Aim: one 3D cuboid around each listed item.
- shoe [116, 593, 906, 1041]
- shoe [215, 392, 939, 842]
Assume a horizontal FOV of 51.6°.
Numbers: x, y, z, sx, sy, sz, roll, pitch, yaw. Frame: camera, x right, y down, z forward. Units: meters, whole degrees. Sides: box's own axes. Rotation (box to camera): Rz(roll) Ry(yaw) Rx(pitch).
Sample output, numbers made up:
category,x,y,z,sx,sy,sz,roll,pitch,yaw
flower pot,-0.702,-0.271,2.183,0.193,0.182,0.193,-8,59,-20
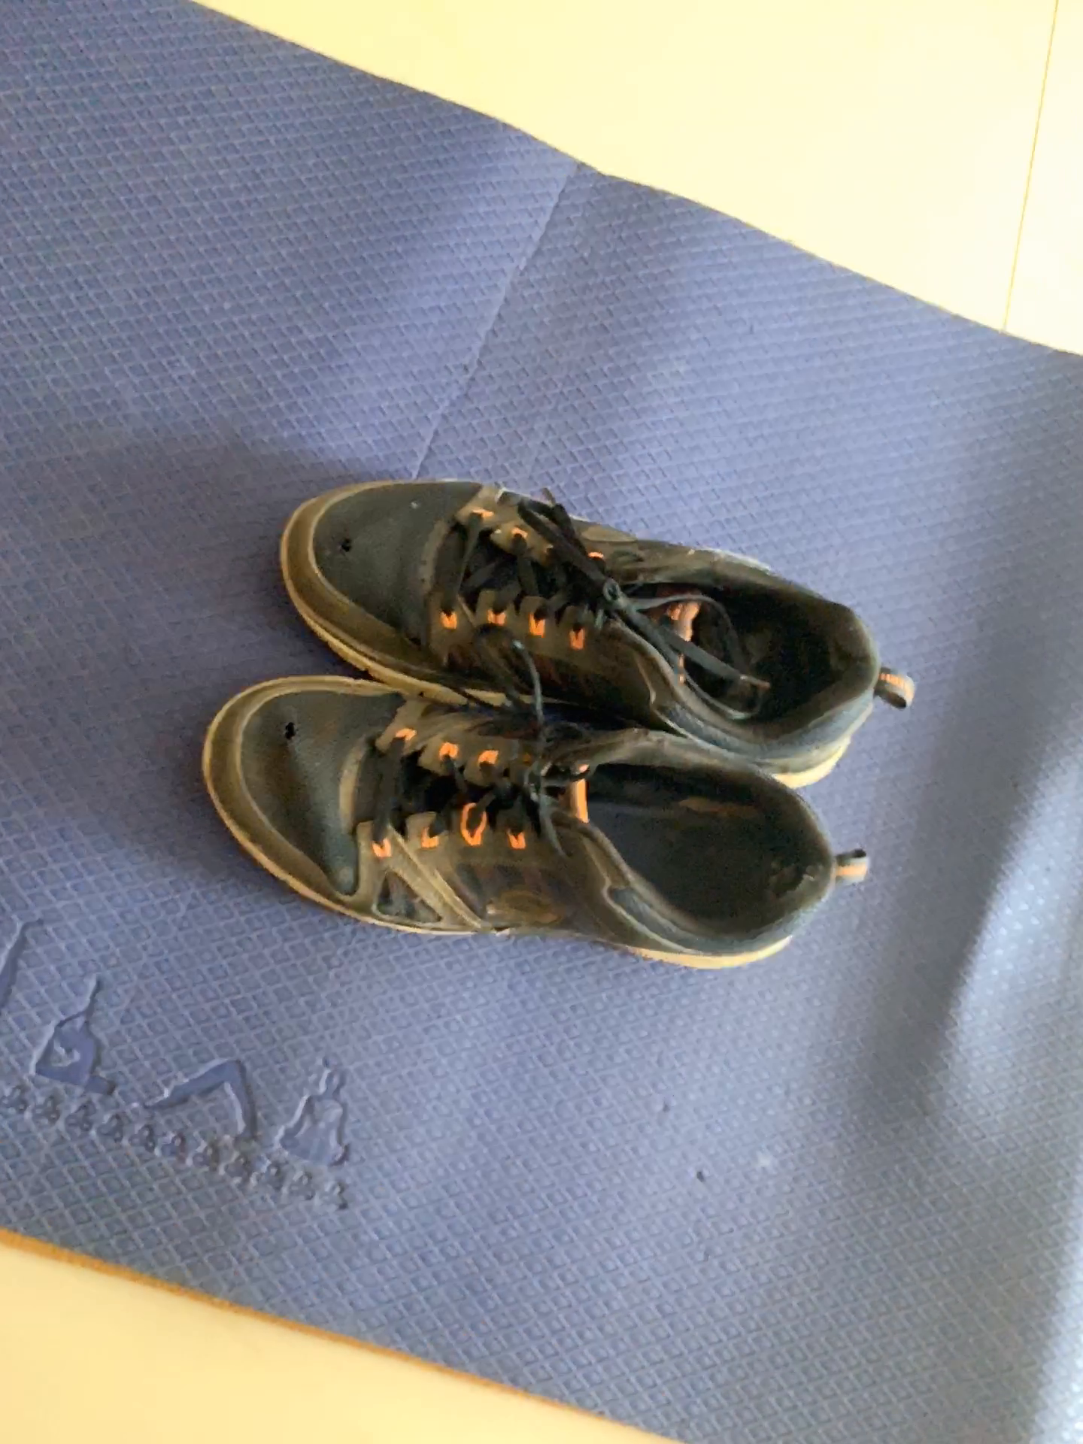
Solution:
category,x,y,z,sx,sy,sz,roll,pitch,yaw
shoe,-0.010,0.051,0.507,0.310,0.100,0.110,15,73,-5
shoe,0.017,-0.042,0.561,0.320,0.100,0.100,20,79,-4
